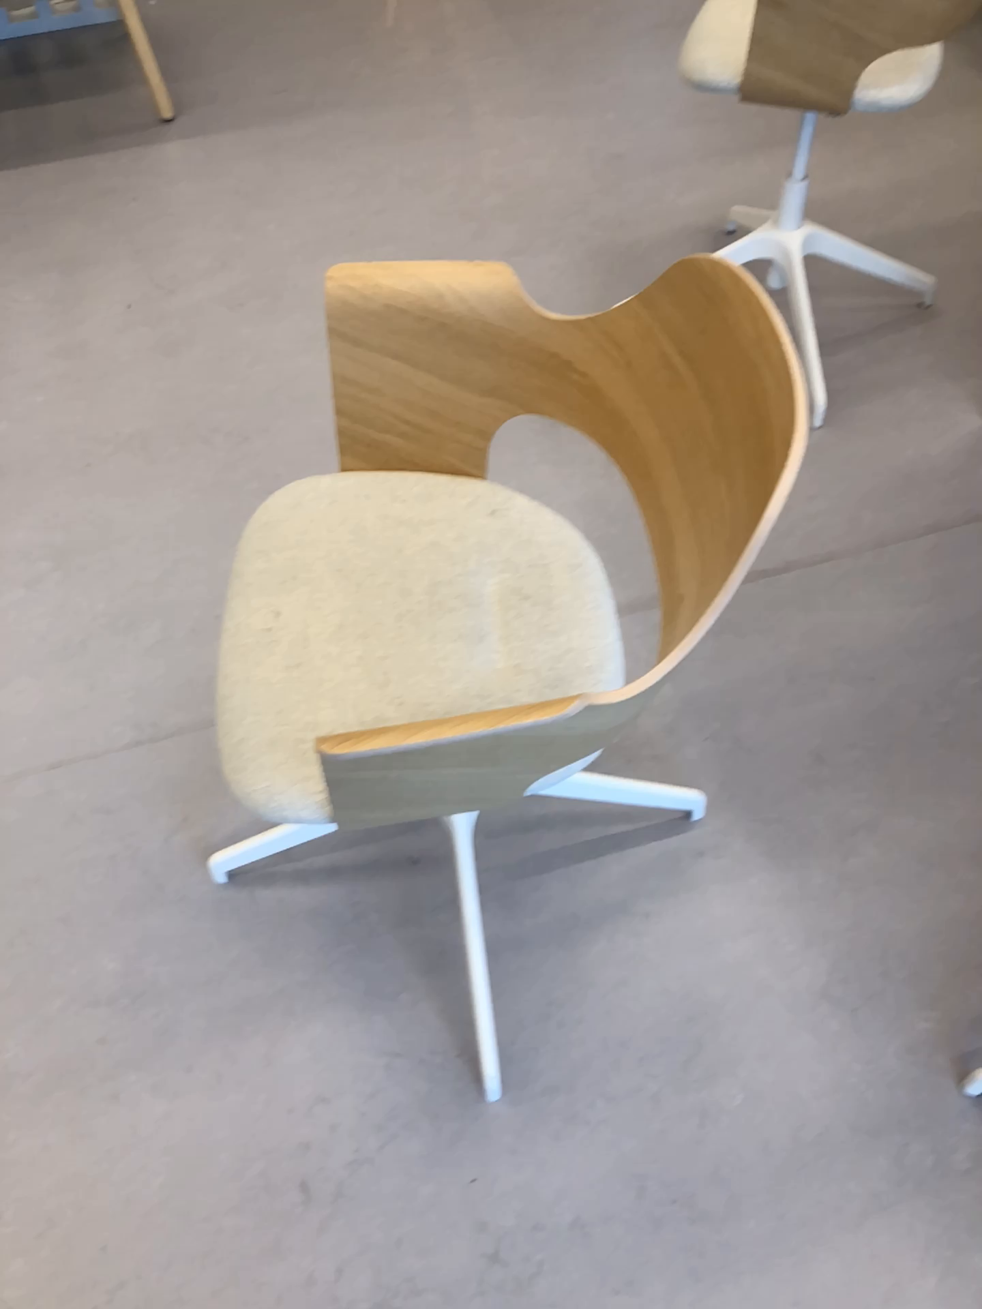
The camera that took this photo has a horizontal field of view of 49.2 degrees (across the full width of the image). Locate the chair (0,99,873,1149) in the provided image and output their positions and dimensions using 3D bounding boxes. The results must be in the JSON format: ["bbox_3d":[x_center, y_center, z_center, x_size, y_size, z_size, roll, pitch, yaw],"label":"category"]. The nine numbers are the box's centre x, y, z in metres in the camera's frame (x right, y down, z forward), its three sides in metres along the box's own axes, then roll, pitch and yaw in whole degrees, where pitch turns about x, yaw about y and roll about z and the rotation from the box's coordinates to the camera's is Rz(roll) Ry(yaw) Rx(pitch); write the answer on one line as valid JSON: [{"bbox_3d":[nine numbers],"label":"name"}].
[{"bbox_3d":[-0.083,-0.003,1.105,0.660,0.775,0.714,4,52,5],"label":"chair"}]
